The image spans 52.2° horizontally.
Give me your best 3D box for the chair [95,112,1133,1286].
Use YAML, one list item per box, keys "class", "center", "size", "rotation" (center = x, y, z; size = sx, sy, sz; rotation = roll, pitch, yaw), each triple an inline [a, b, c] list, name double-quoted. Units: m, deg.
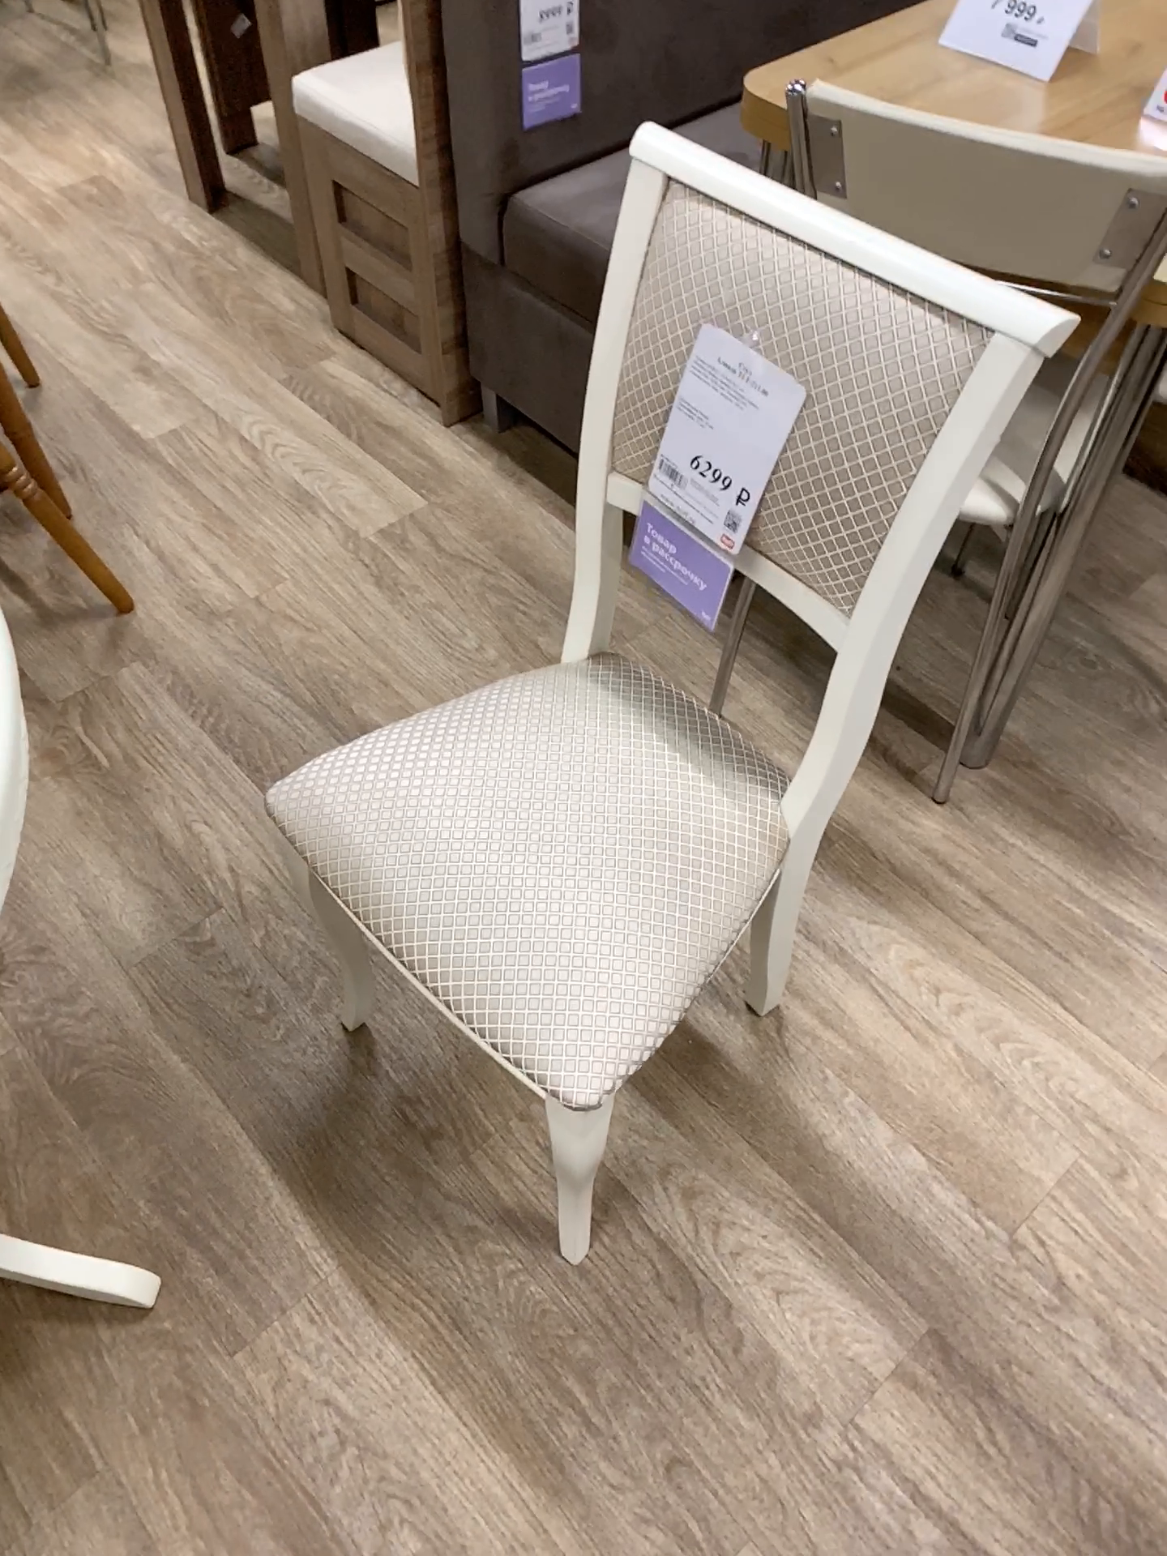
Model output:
- class: "chair"
  center: [0.020, -0.003, 1.150]
  size: [0.461, 0.926, 0.511]
  rotation: [38, 60, 25]
